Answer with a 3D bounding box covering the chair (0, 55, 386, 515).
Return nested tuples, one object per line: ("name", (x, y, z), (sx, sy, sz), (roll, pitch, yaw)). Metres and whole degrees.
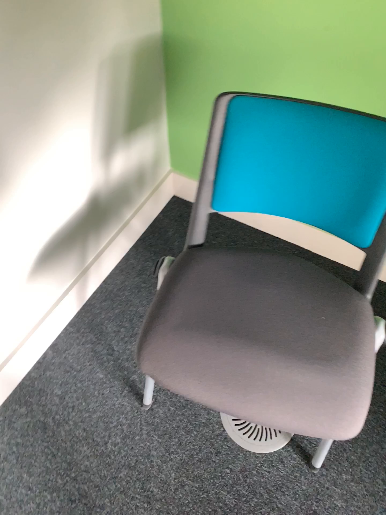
("chair", (0.116, 0.123, 0.787), (0.581, 0.665, 0.553), (25, 58, 16))
